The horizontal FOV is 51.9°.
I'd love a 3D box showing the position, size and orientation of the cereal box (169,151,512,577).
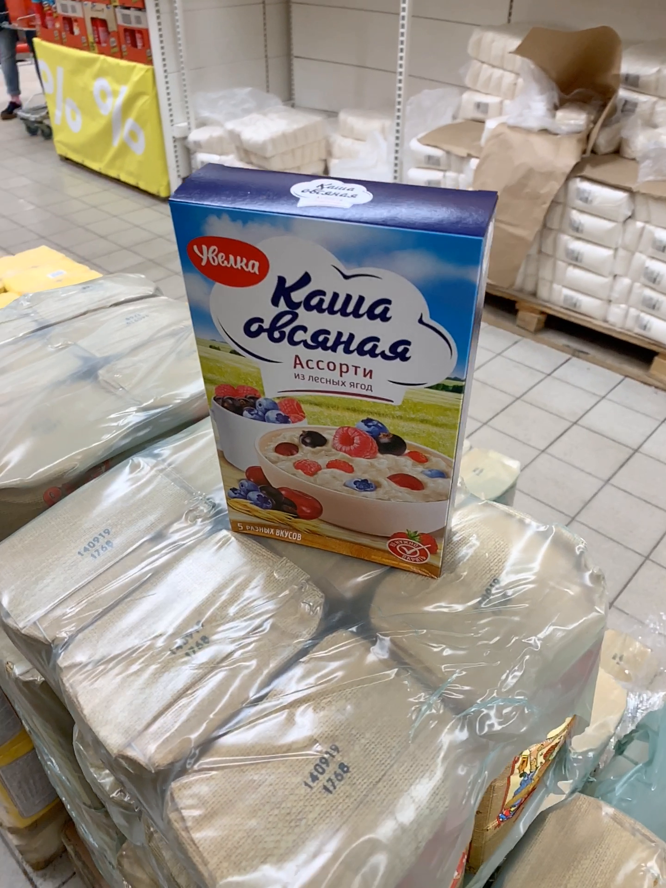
[{"bbox_3d":[0.005,-0.030,0.341,0.130,0.198,0.050,10,42,12],"label":"cereal box"}]
